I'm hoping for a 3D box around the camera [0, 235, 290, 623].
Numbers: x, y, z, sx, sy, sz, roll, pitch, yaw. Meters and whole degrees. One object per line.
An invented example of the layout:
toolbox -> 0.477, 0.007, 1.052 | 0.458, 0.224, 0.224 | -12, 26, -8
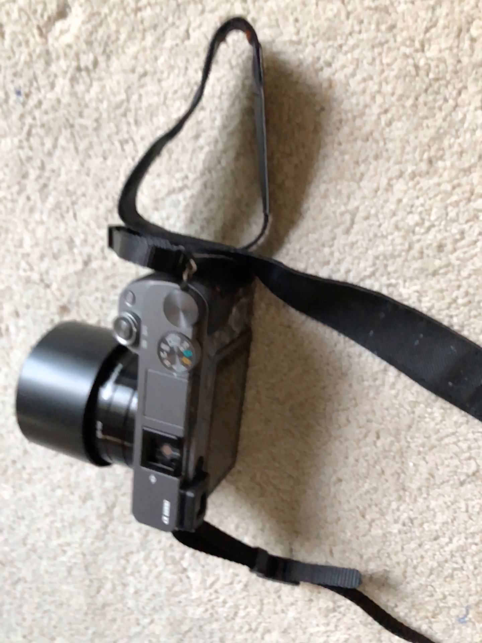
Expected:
camera -> -0.048, 0.040, 0.254 | 0.110, 0.070, 0.140 | 11, 108, 19
